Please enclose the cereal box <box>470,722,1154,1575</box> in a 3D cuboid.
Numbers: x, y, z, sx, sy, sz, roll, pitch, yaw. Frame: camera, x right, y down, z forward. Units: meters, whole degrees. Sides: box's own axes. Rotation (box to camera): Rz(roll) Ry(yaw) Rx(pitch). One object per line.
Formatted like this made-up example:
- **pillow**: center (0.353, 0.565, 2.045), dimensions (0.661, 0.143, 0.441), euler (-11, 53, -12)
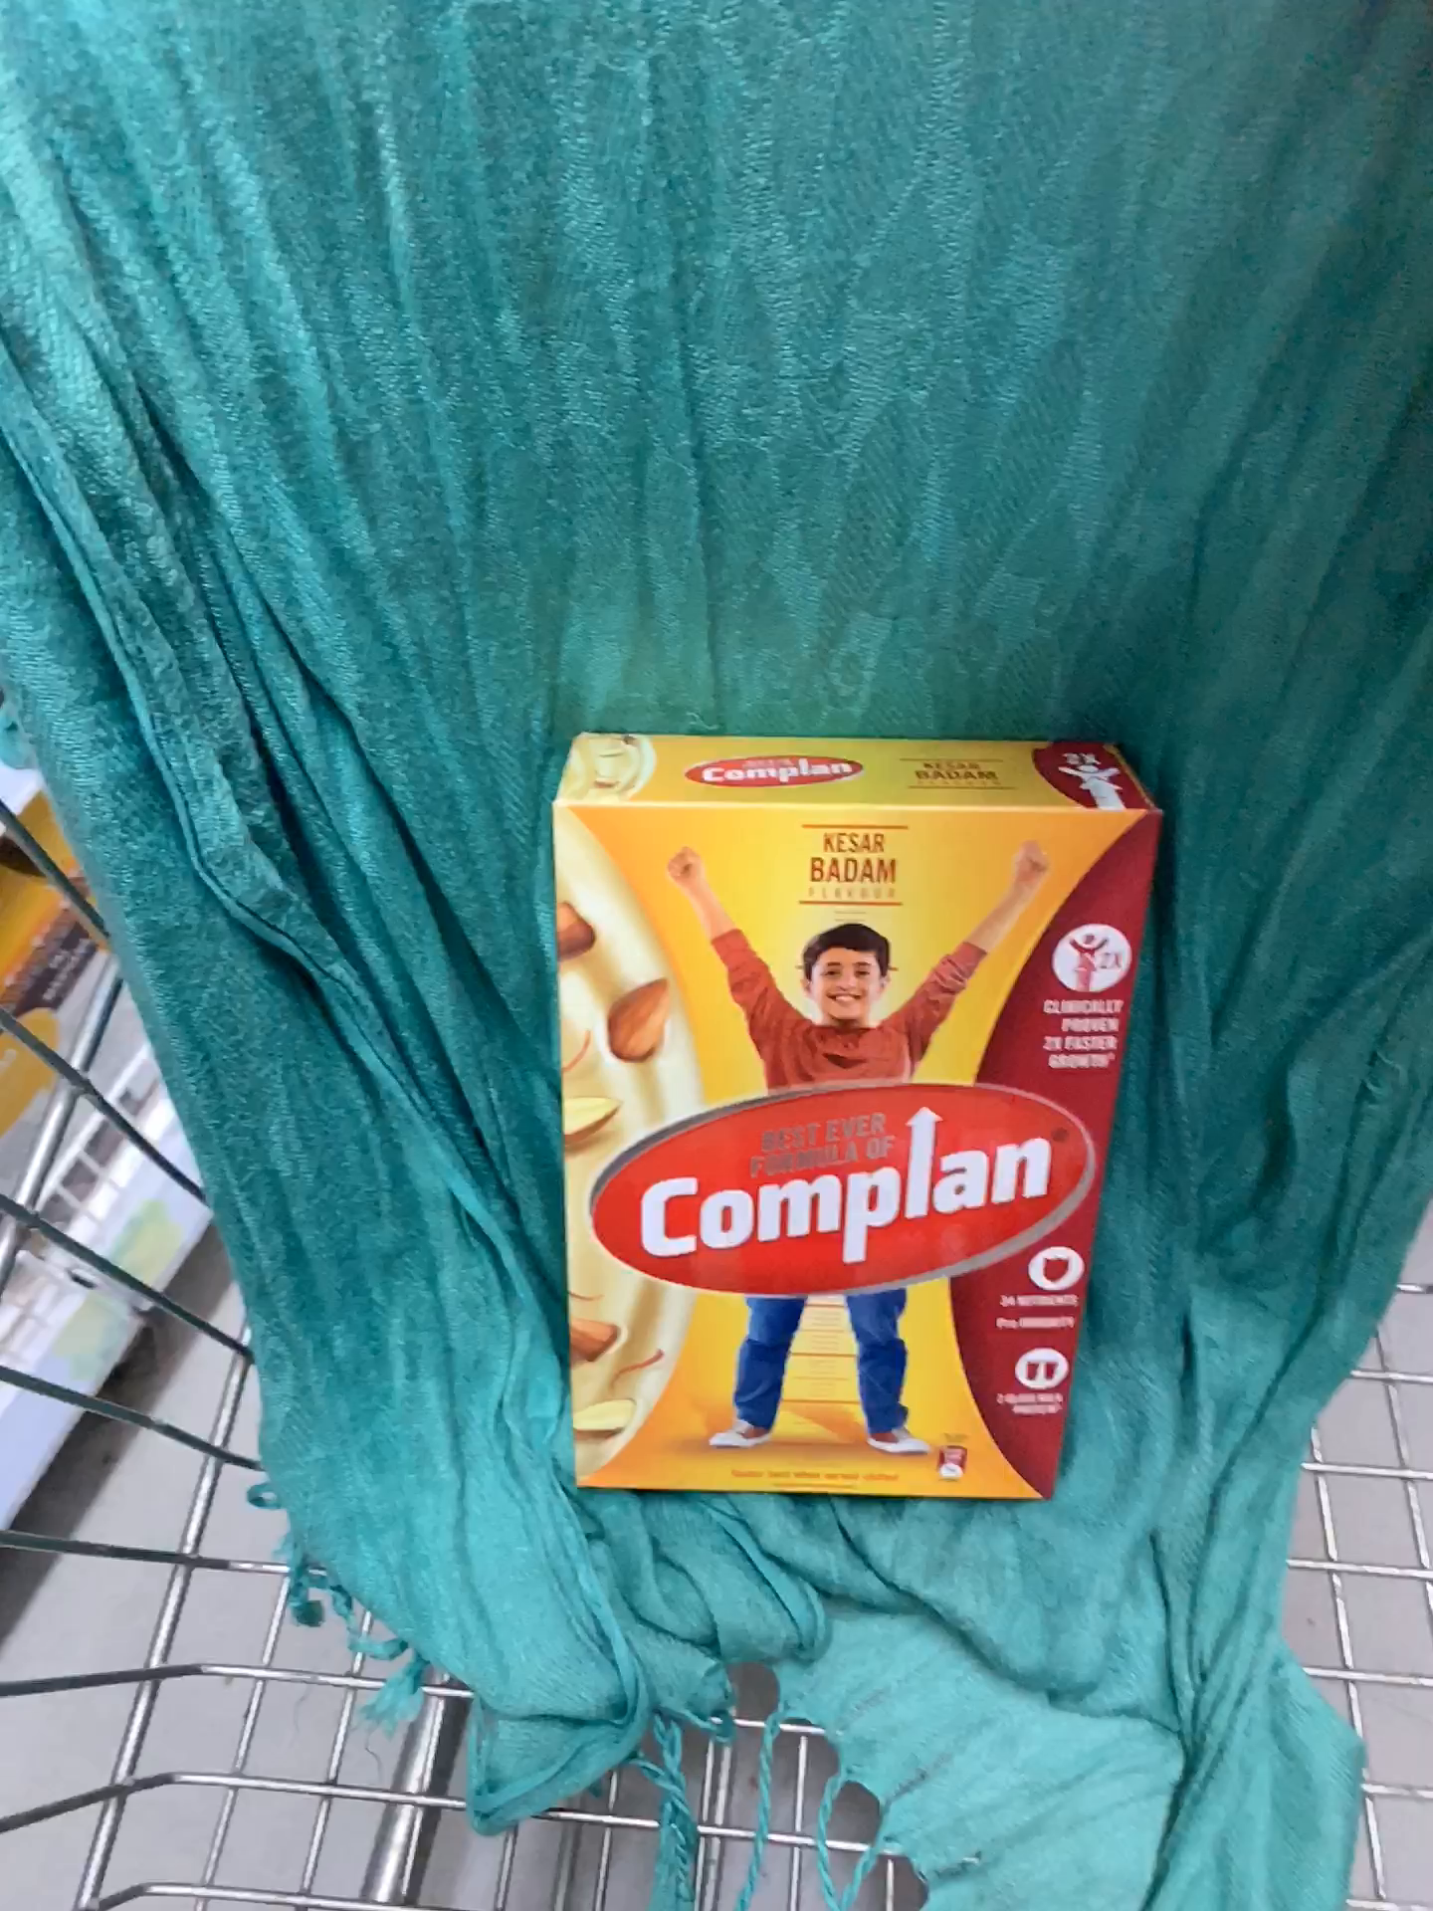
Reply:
- **cereal box**: center (0.021, 0.048, 0.363), dimensions (0.140, 0.200, 0.060), euler (1, 19, 3)
